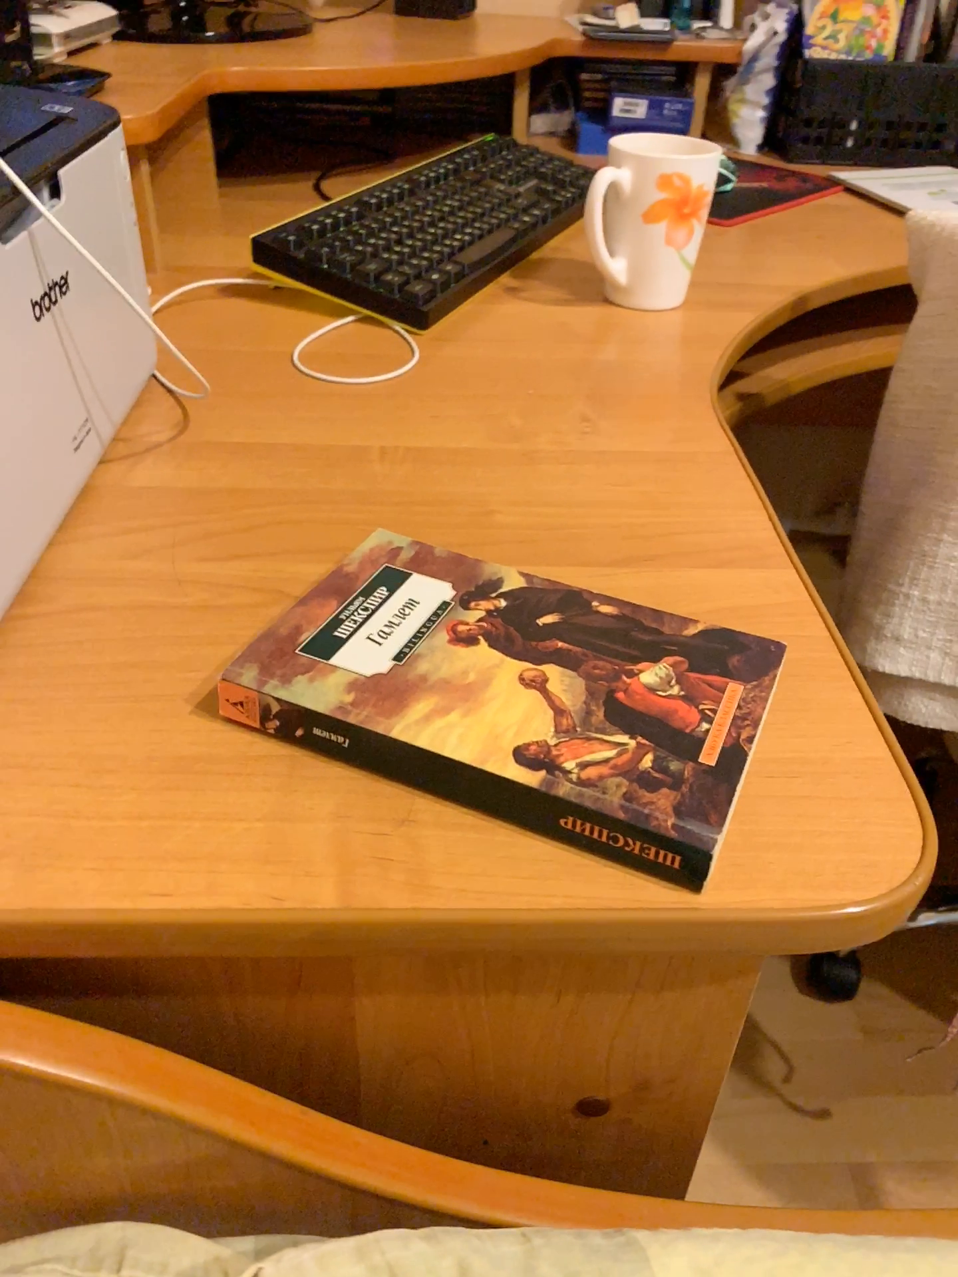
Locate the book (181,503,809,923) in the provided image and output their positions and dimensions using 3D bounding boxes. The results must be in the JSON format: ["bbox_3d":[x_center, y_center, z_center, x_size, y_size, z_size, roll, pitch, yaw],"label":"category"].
[{"bbox_3d":[0.010,0.013,0.358,0.190,0.030,0.121,18,39,19],"label":"book"}]
